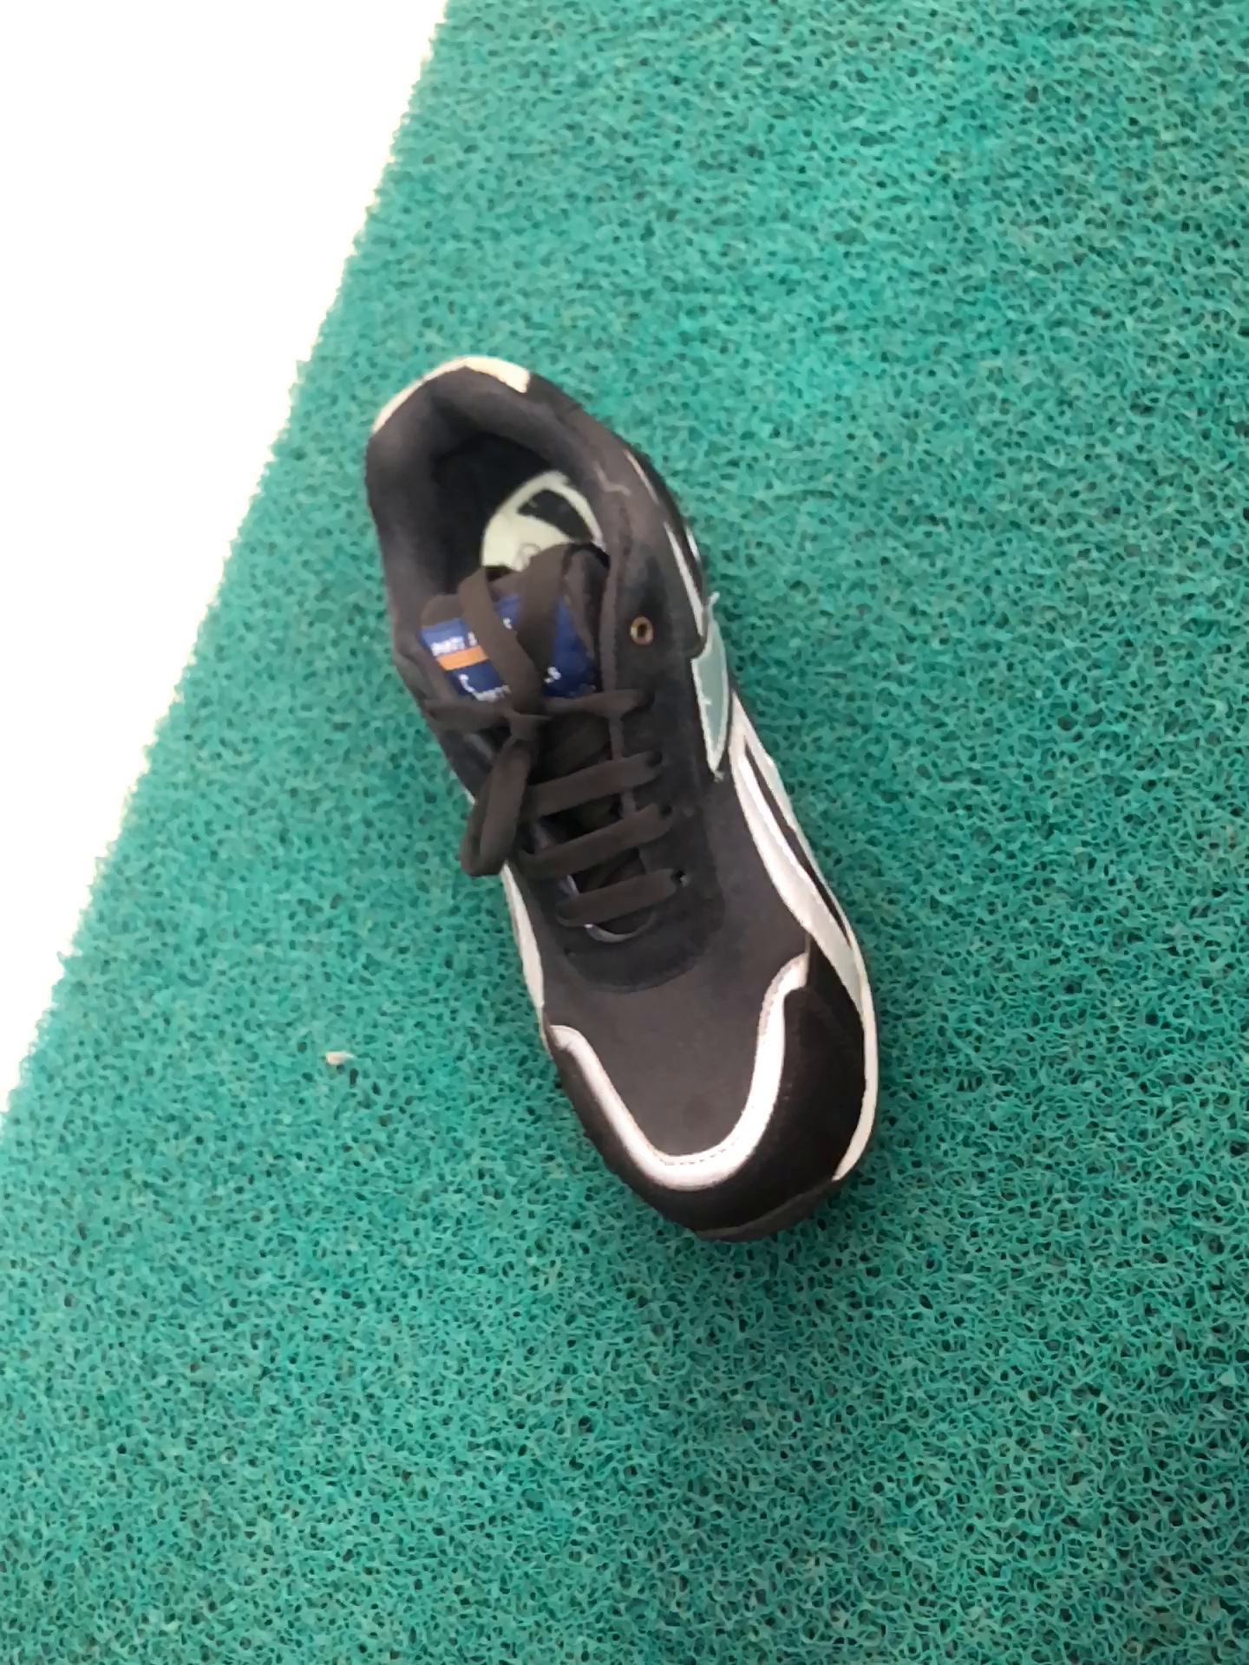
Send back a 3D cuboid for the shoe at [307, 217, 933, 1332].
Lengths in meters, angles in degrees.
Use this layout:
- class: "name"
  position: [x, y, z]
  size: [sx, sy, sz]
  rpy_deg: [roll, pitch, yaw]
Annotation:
- class: "shoe"
  position: [-0.004, -0.015, 0.421]
  size: [0.100, 0.110, 0.290]
  rpy_deg: [-18, 72, 20]
